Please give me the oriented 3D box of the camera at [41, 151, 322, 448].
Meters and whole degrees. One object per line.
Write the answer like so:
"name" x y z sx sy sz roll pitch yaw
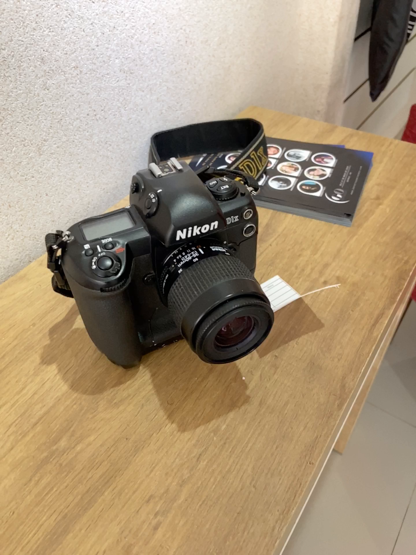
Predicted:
"camera" -0.026 0.008 0.356 0.150 0.129 0.161 -22 47 -18
